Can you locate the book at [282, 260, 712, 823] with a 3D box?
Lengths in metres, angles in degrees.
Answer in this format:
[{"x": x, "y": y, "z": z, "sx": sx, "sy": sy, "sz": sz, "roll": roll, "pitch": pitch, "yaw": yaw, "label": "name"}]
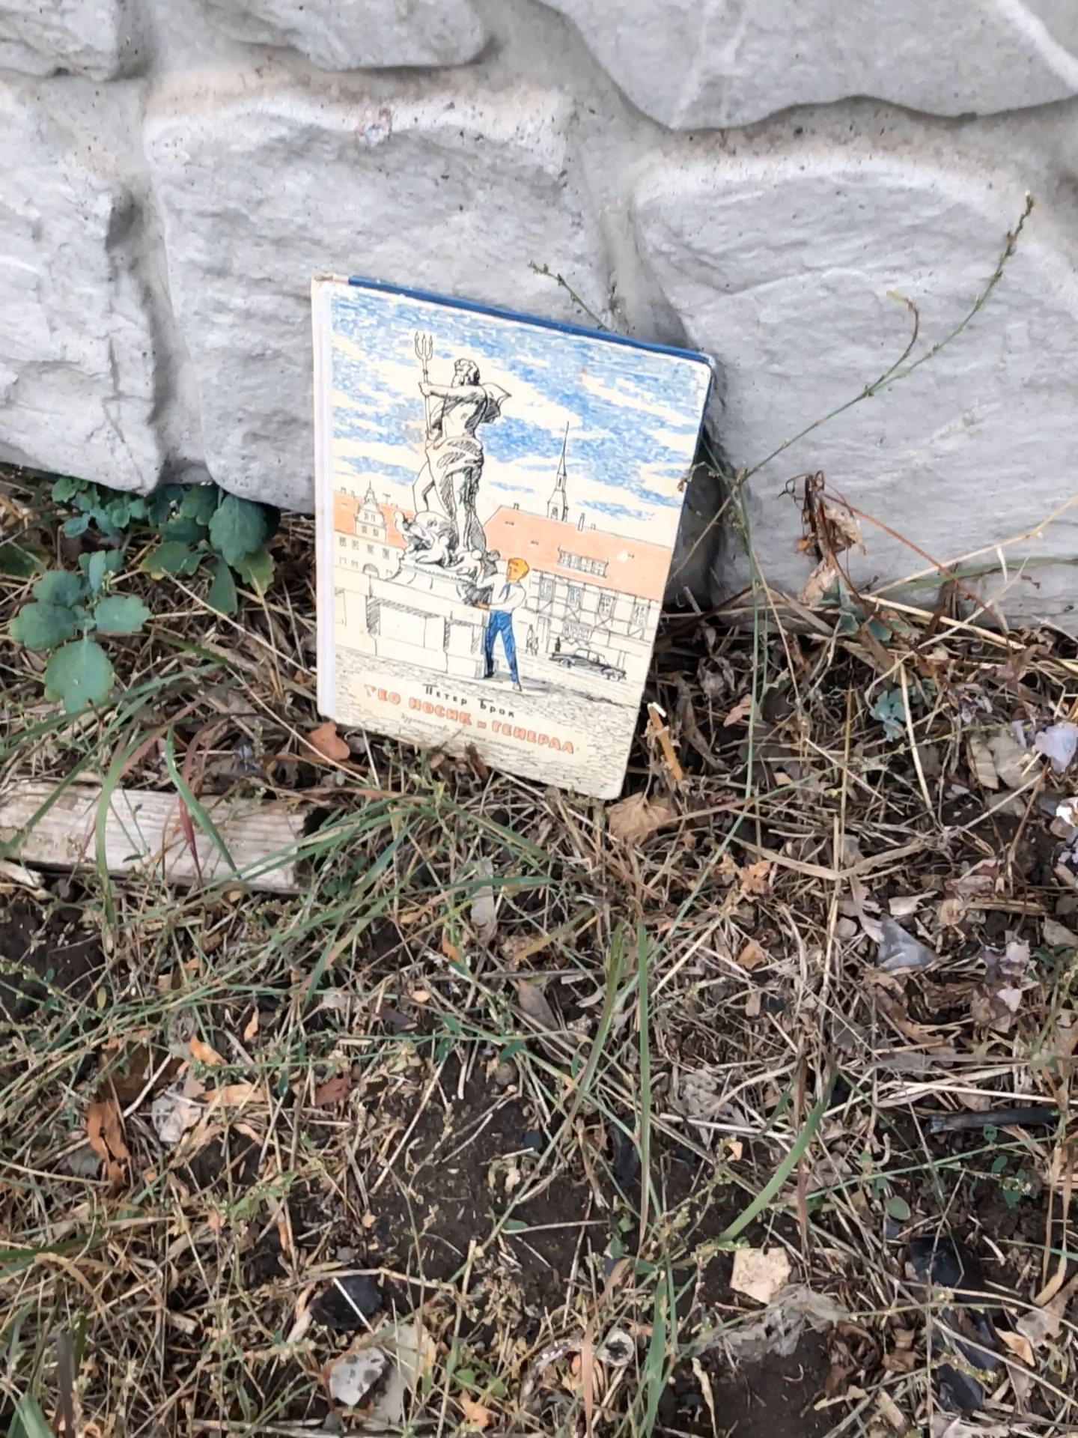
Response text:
[{"x": -0.021, "y": -0.061, "z": 0.464, "sx": 0.151, "sy": 0.200, "sz": 0.020, "roll": 17, "pitch": 41, "yaw": 17, "label": "book"}]
